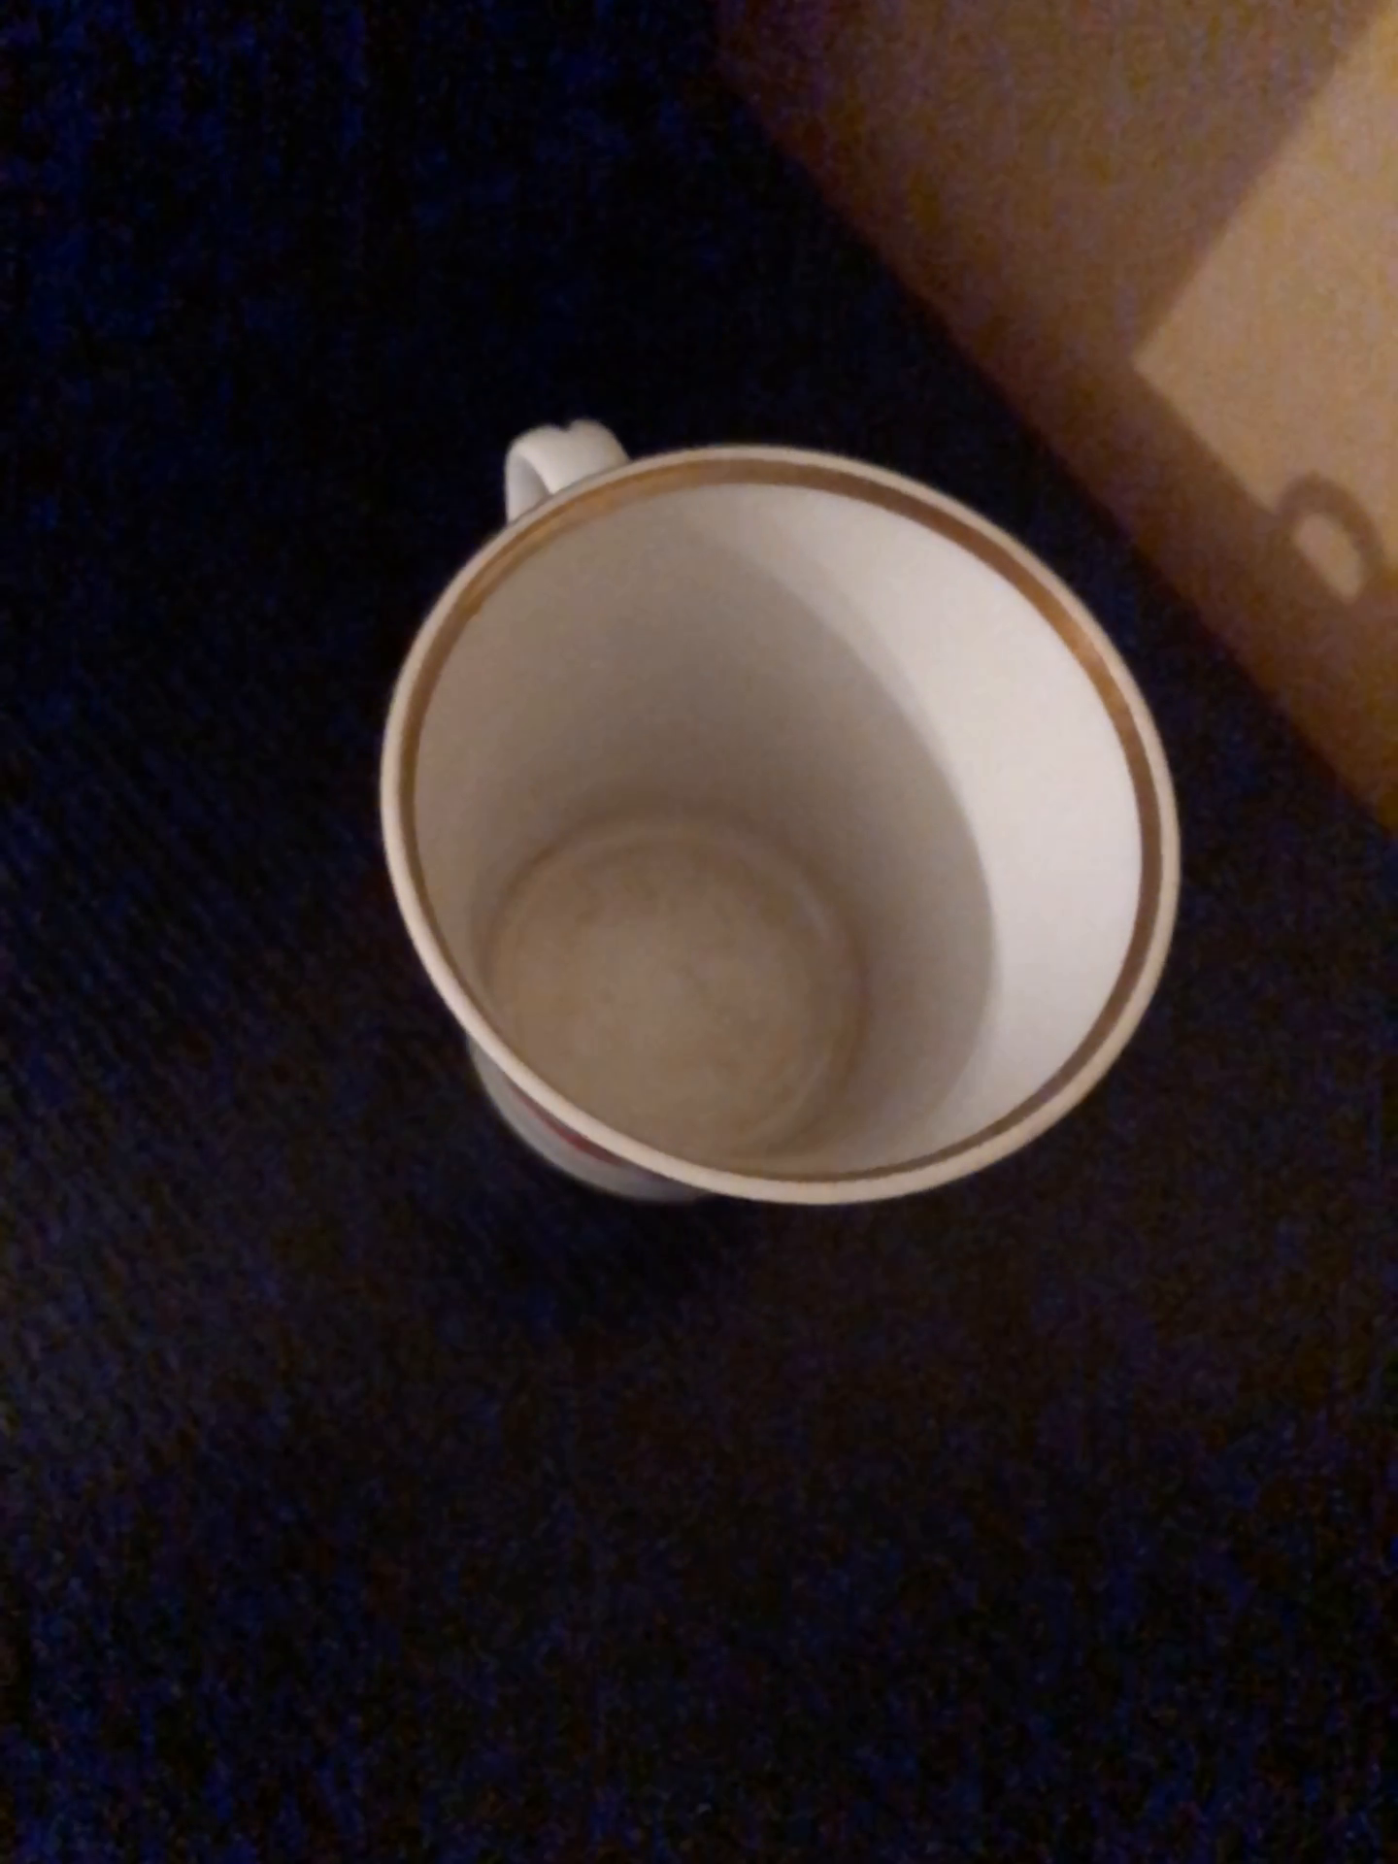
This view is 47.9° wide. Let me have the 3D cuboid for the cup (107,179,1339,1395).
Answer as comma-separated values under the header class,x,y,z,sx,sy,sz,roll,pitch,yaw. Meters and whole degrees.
class,x,y,z,sx,sy,sz,roll,pitch,yaw
cup,-0.003,-0.015,0.237,0.102,0.092,0.125,-31,81,-19
